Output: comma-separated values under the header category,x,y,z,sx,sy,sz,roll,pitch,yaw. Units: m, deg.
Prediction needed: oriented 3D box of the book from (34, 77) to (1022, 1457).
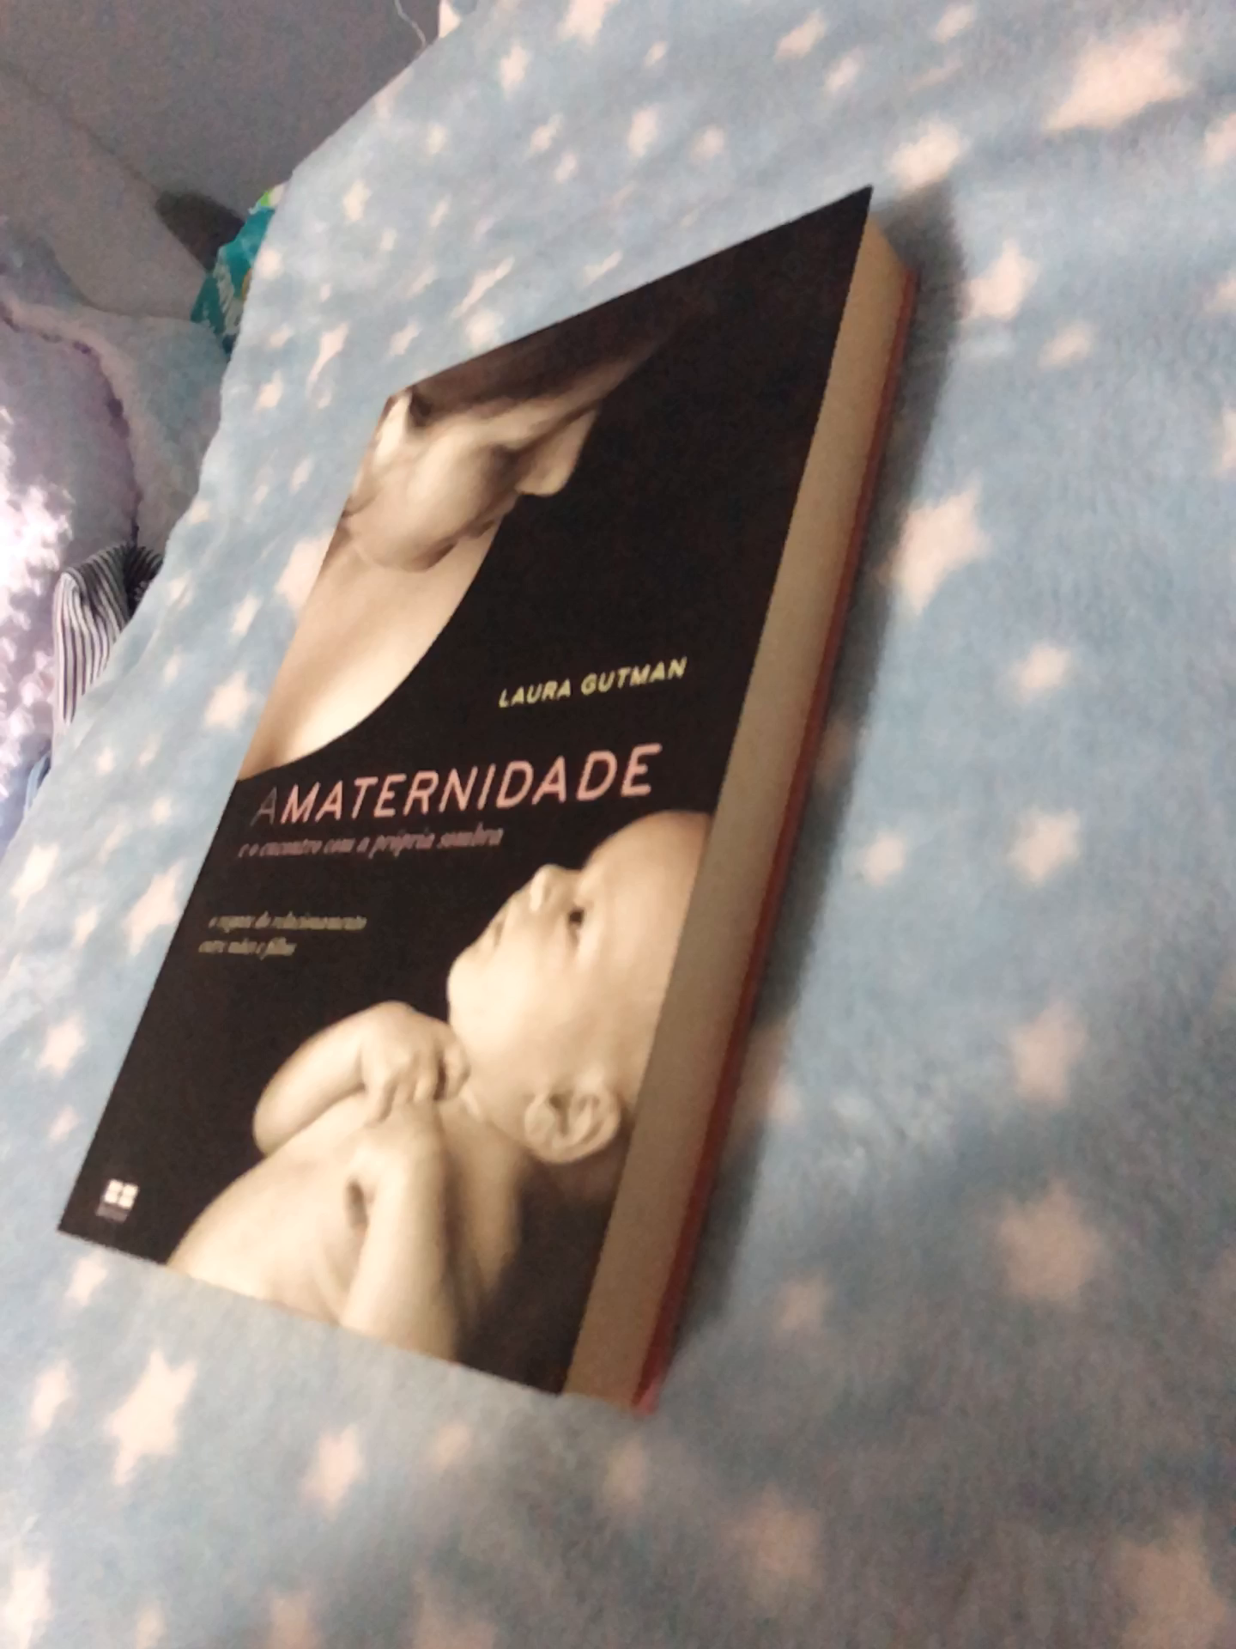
category,x,y,z,sx,sy,sz,roll,pitch,yaw
book,-0.020,-0.023,0.278,0.161,0.030,0.240,-3,61,43
